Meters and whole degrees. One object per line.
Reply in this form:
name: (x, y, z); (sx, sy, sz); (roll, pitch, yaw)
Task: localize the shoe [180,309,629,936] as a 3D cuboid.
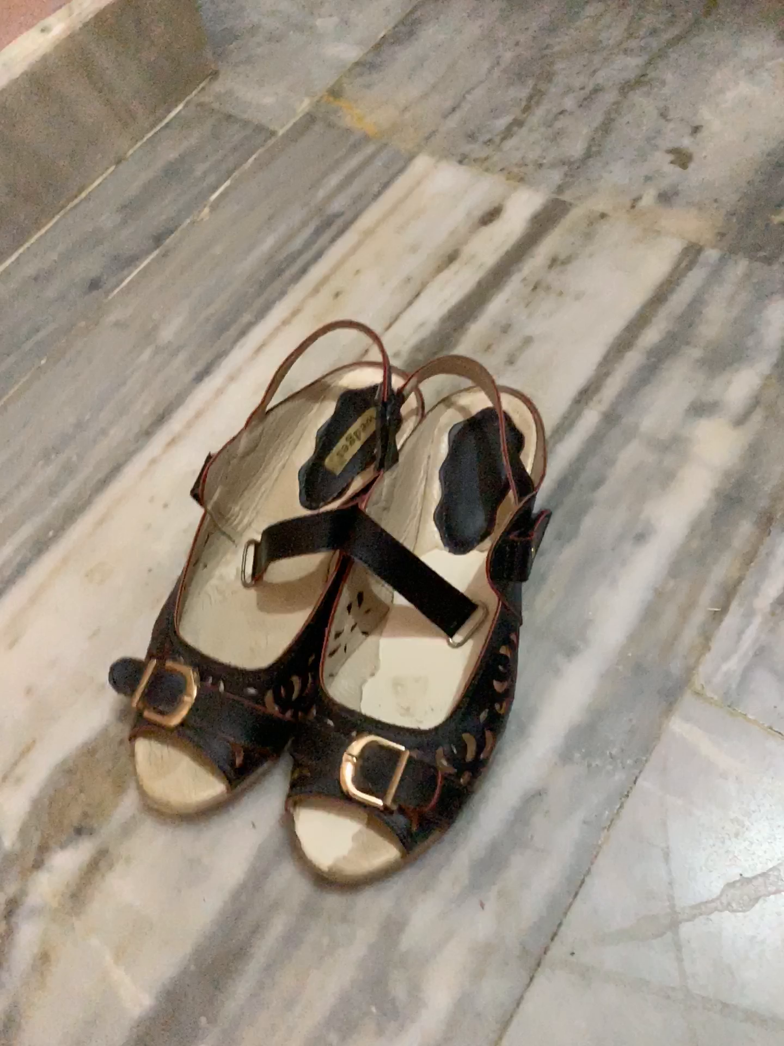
shoe: (0.023, 0.037, 0.383); (0.100, 0.100, 0.260); (17, 64, 17)

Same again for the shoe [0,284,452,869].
shoe: (-0.065, 0.017, 0.407); (0.100, 0.100, 0.260); (17, 64, 17)
